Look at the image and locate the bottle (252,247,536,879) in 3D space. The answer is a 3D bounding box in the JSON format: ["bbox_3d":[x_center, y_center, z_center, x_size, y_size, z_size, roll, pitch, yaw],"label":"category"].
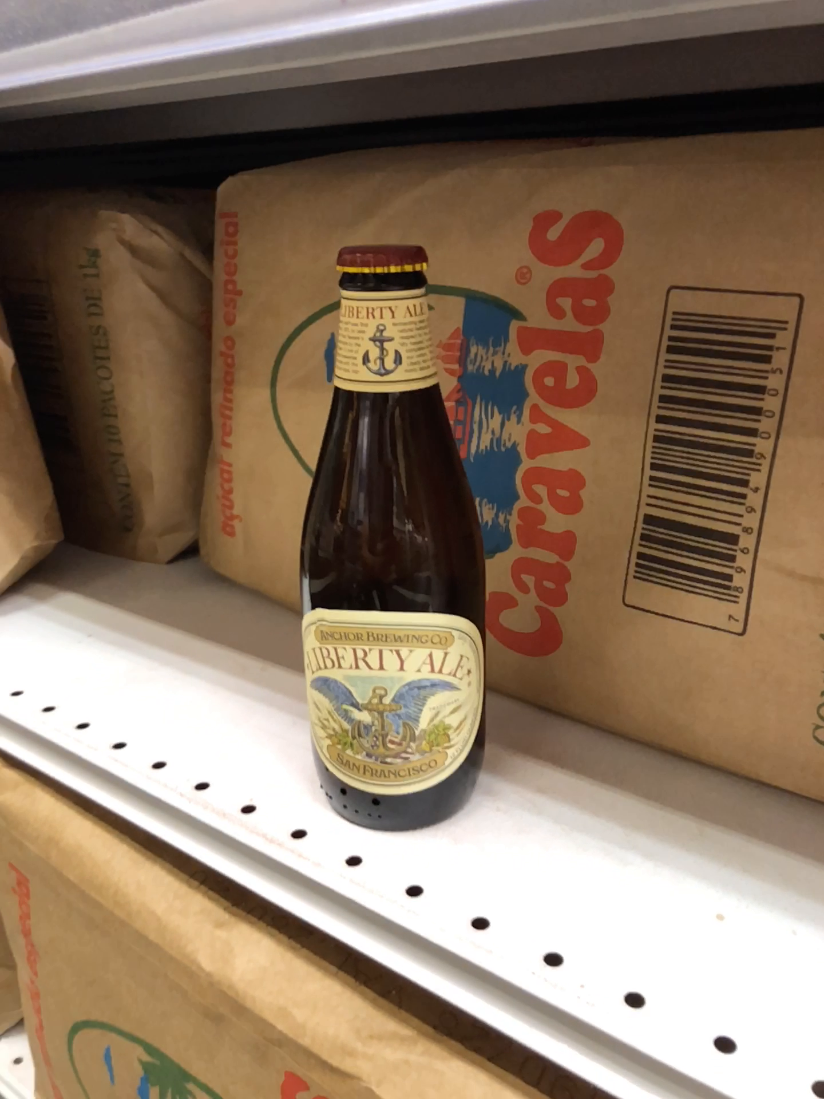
[{"bbox_3d":[0.000,0.002,0.299,0.070,0.189,0.070,-1,19,0],"label":"bottle"}]
